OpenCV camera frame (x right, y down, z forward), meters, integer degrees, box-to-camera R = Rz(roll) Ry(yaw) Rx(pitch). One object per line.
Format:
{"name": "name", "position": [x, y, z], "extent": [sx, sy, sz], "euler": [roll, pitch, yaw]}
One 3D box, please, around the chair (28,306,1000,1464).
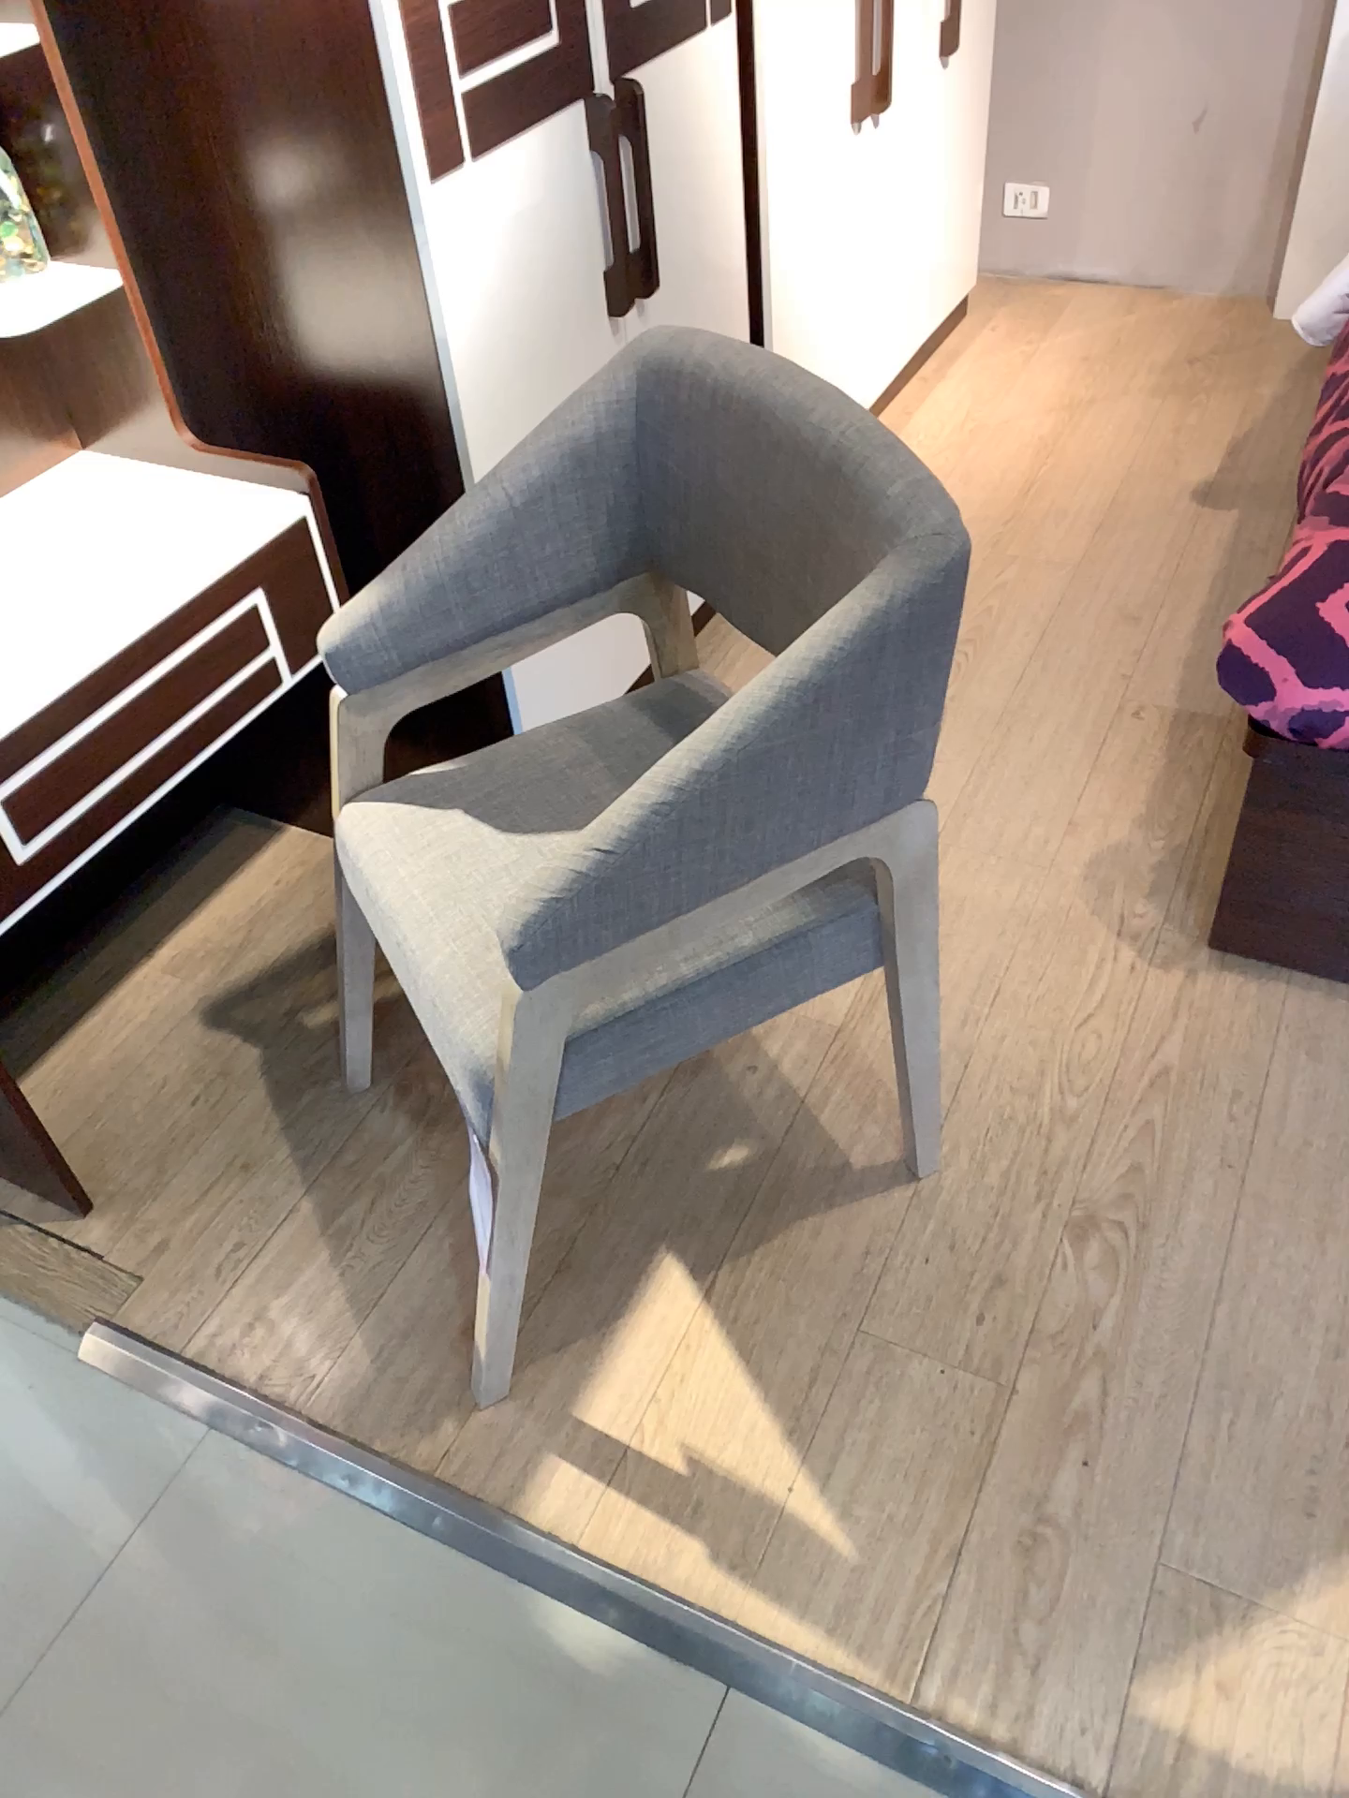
{"name": "chair", "position": [-0.133, -0.022, 1.321], "extent": [0.580, 0.797, 0.562], "euler": [-22, 44, -18]}
